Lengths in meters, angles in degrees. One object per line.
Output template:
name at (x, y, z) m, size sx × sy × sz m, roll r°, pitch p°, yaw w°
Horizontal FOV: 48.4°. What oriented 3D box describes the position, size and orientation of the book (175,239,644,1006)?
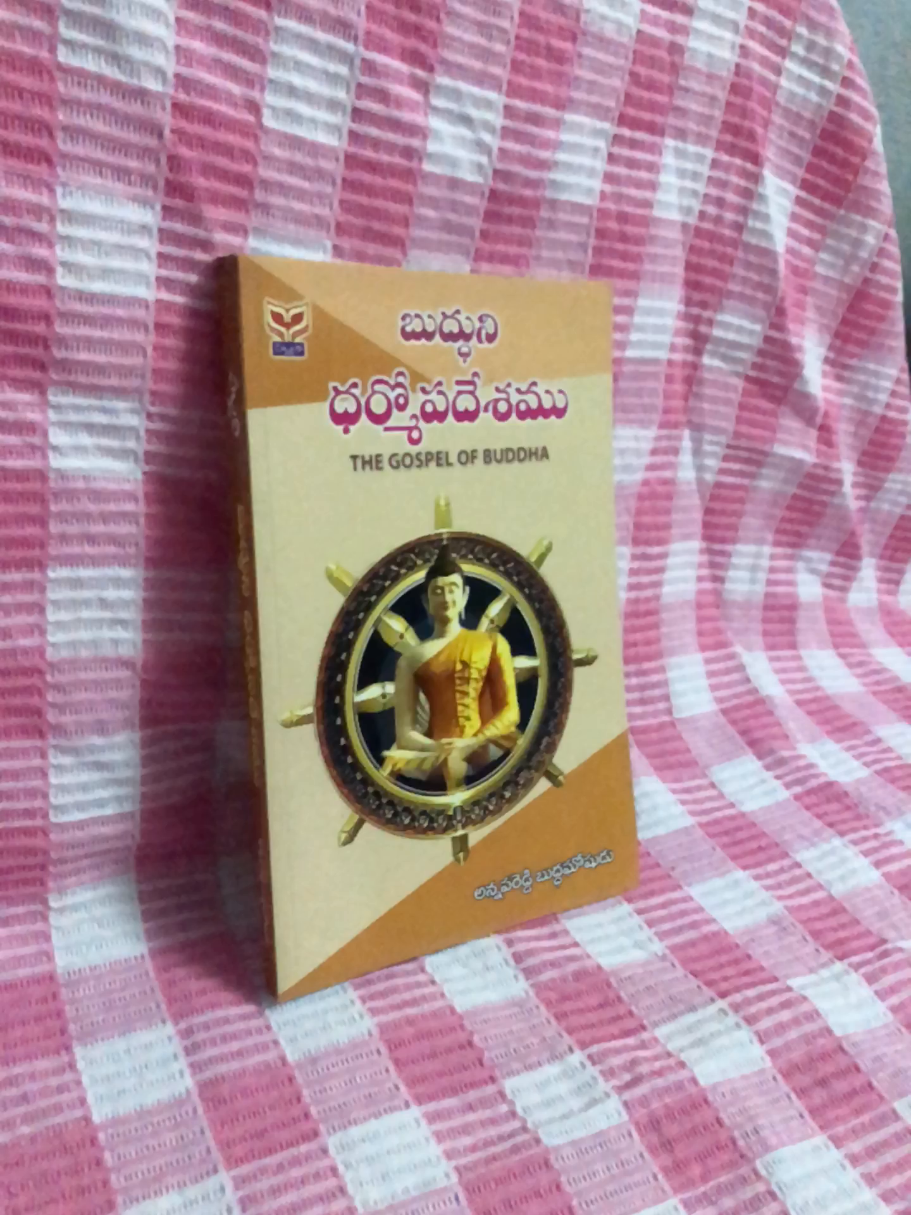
book at (-0.005, 0.000, 0.317) m, size 0.140 × 0.210 × 0.020 m, roll -7°, pitch 8°, yaw -29°
